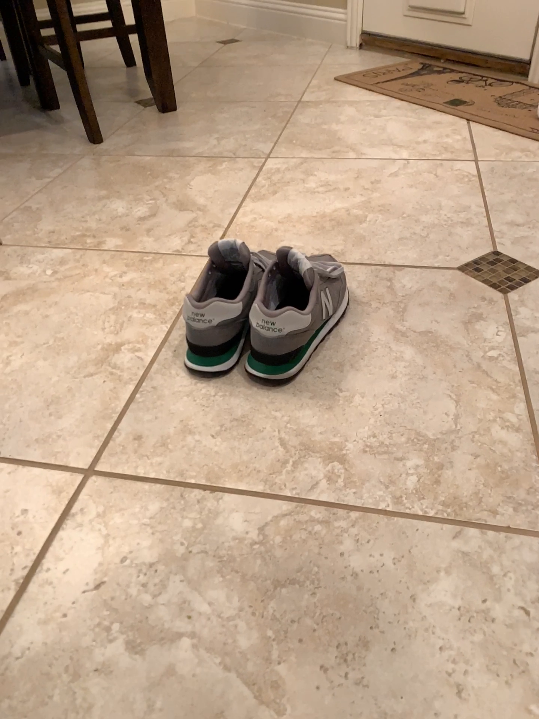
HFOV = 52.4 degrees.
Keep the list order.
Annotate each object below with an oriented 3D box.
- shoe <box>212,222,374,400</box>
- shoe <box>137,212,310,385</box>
[{"bbox_3d":[0.045,-0.083,0.785,0.115,0.103,0.275,16,43,23],"label":"shoe"},{"bbox_3d":[-0.051,-0.104,0.810,0.115,0.103,0.285,16,43,23],"label":"shoe"}]
